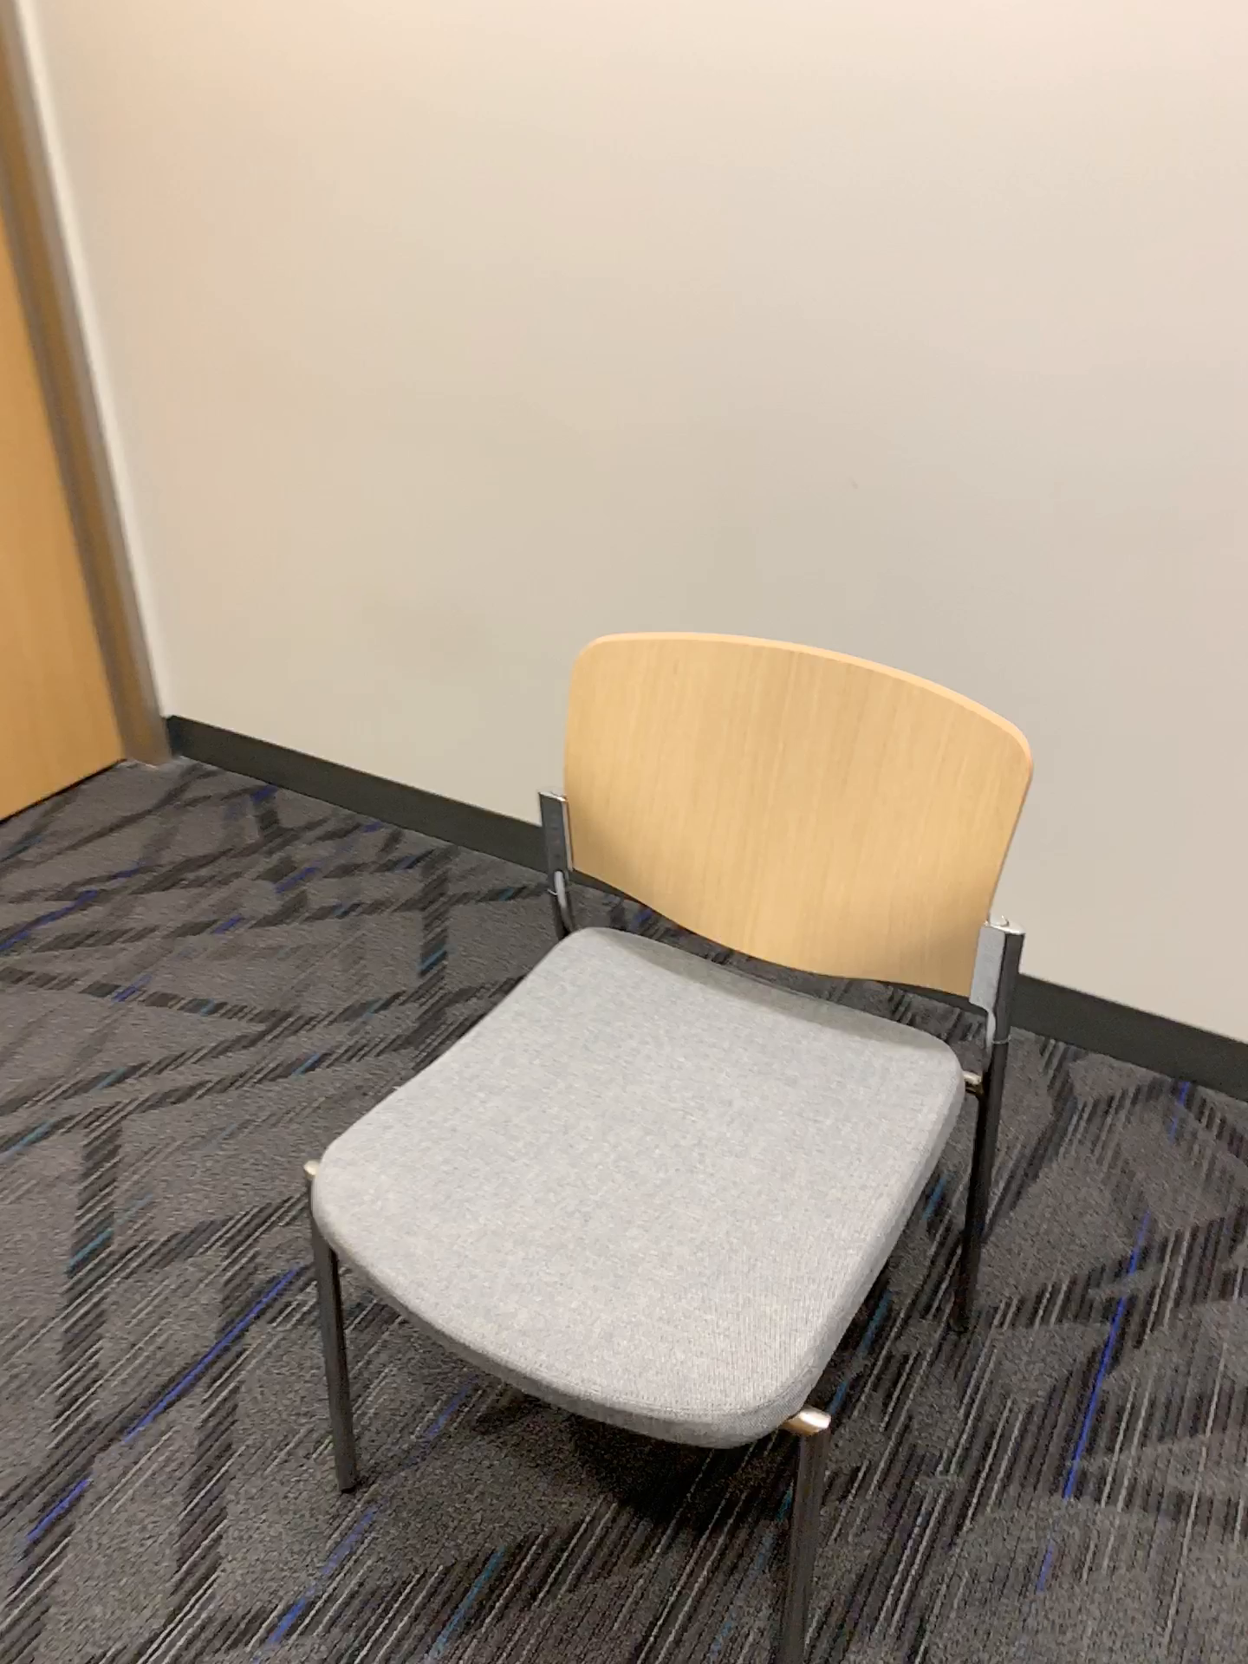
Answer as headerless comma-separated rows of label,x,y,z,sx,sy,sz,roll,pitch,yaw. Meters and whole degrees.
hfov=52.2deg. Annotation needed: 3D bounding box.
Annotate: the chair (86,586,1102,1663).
chair,0.015,0.249,1.118,0.555,0.704,0.539,16,34,26
